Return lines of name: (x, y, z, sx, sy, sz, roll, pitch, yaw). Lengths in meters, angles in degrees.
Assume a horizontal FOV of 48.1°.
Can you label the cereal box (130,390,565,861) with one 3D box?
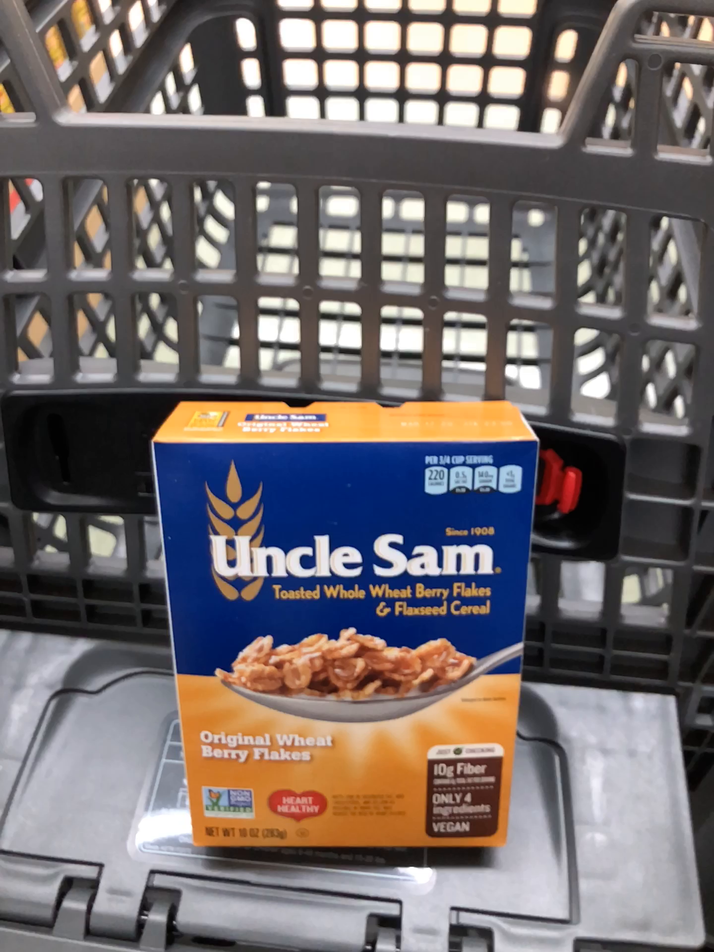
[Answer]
cereal box: (-0.003, 0.071, 0.356, 0.160, 0.210, 0.050, 0, 21, 1)
